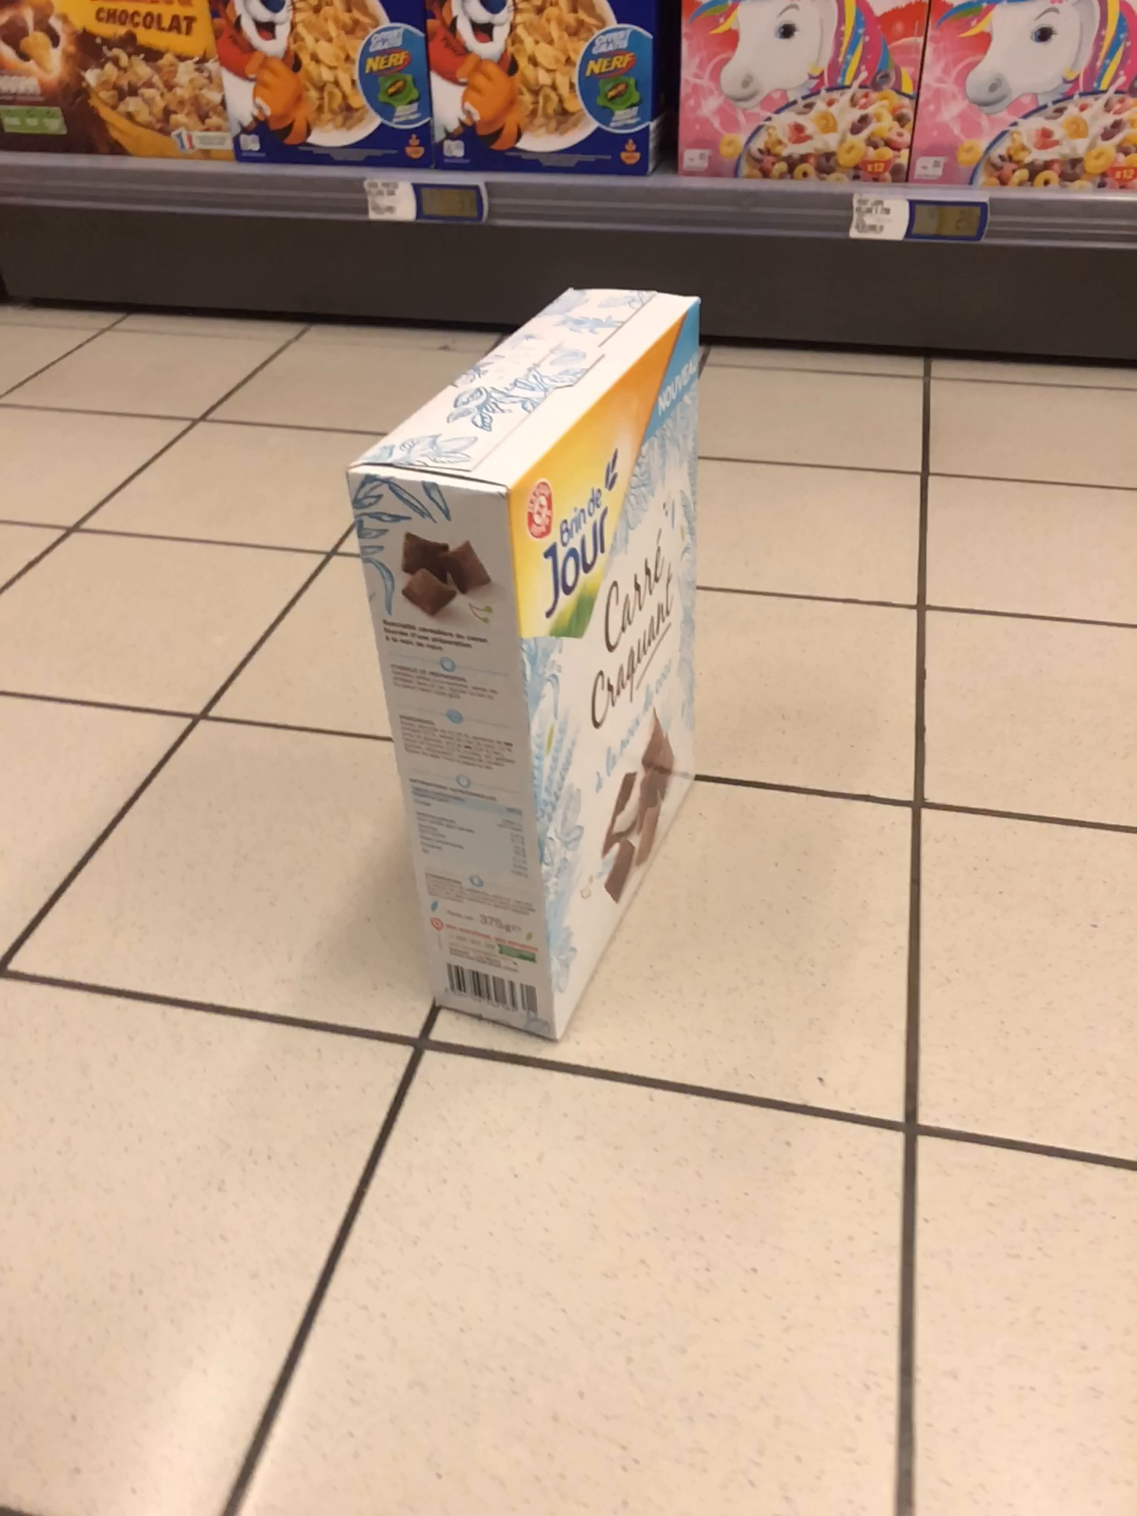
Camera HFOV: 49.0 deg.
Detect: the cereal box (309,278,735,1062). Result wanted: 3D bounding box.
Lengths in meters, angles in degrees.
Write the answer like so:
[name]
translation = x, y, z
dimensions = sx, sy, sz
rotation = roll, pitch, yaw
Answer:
[cereal box]
translation = -0.001, -0.039, 0.506
dimensions = 0.070, 0.239, 0.201
rotation = 13, 40, 19
